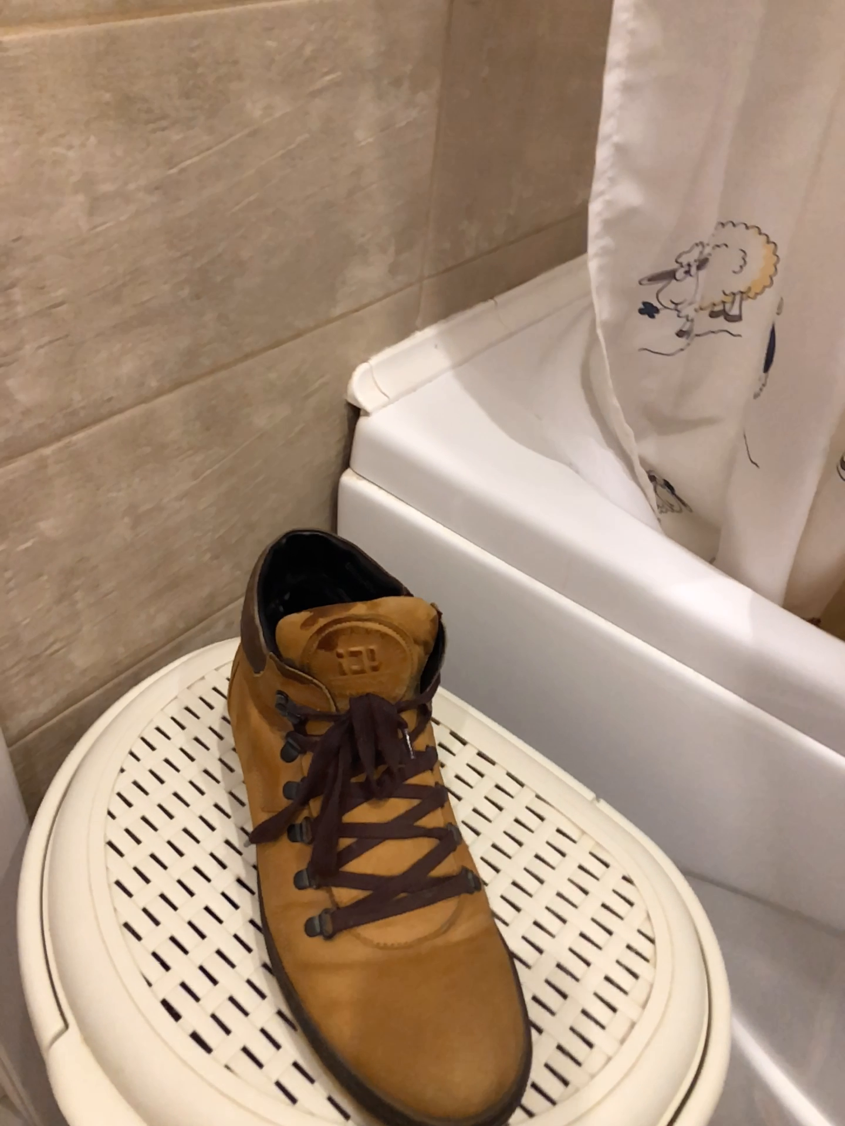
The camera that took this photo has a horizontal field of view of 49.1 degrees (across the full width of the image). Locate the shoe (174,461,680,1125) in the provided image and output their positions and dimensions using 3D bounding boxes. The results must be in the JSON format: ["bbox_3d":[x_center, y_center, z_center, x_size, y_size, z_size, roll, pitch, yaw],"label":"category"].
[{"bbox_3d":[-0.028,0.112,0.437,0.110,0.169,0.292,-11,44,-19],"label":"shoe"}]
